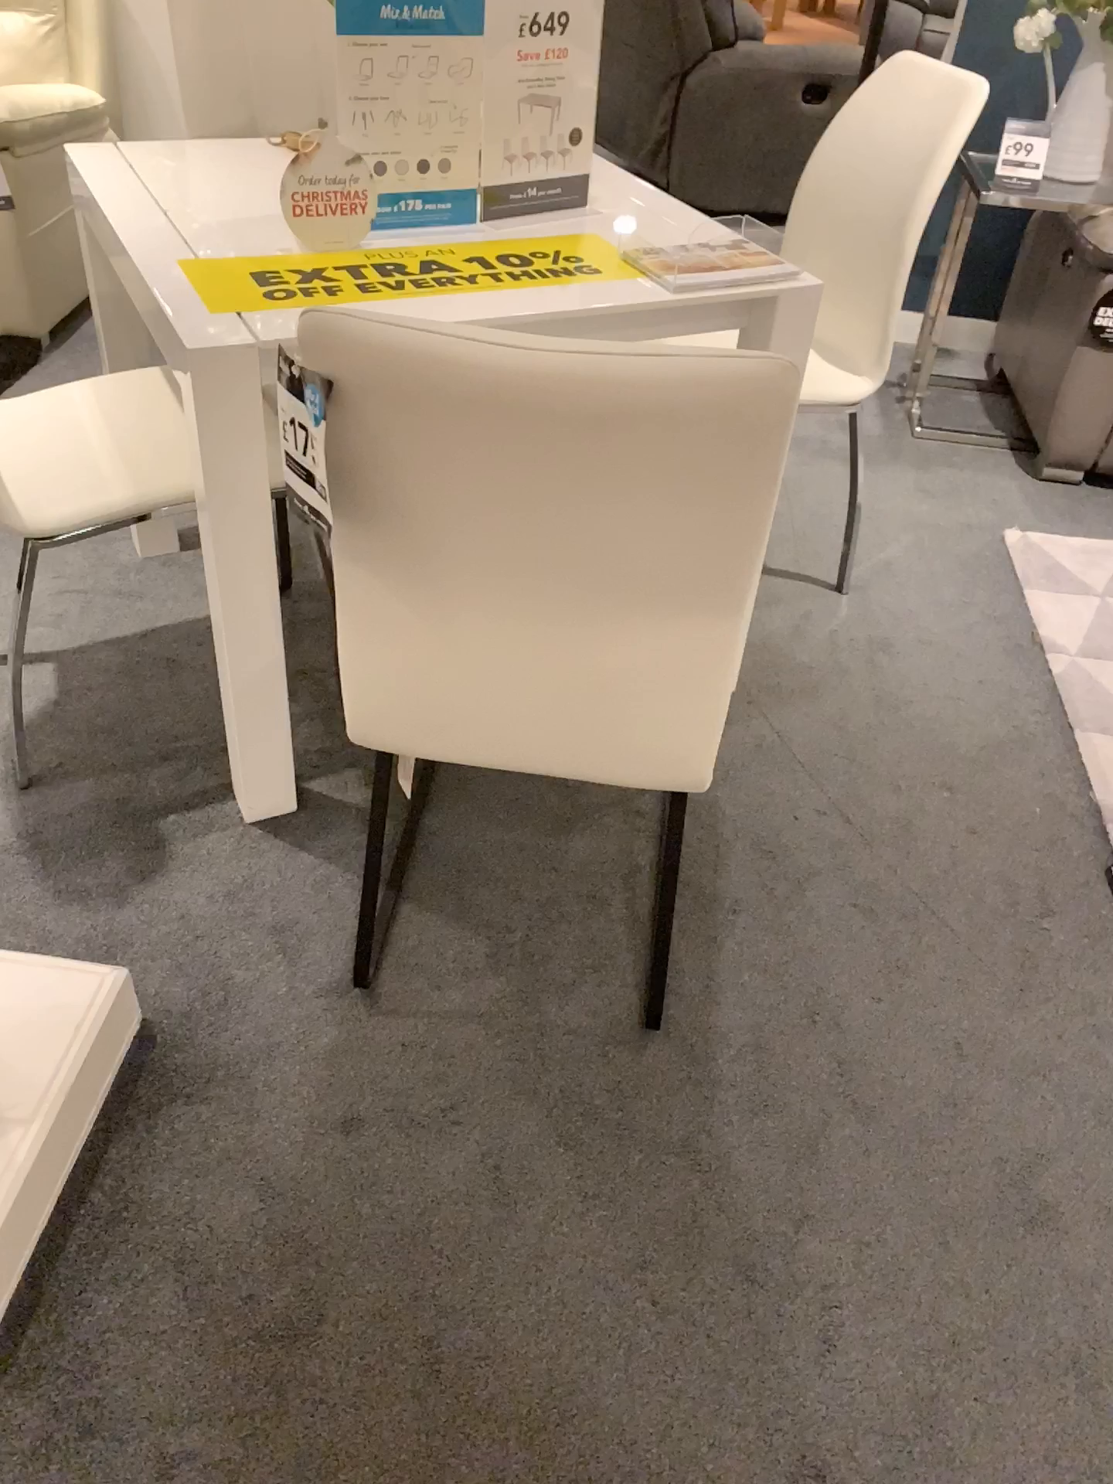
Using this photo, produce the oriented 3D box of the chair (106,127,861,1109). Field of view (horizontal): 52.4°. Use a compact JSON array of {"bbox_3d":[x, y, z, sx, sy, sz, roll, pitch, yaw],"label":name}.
[{"bbox_3d":[-0.061,-0.132,1.331,0.540,0.891,0.636,6,39,1],"label":"chair"}]
